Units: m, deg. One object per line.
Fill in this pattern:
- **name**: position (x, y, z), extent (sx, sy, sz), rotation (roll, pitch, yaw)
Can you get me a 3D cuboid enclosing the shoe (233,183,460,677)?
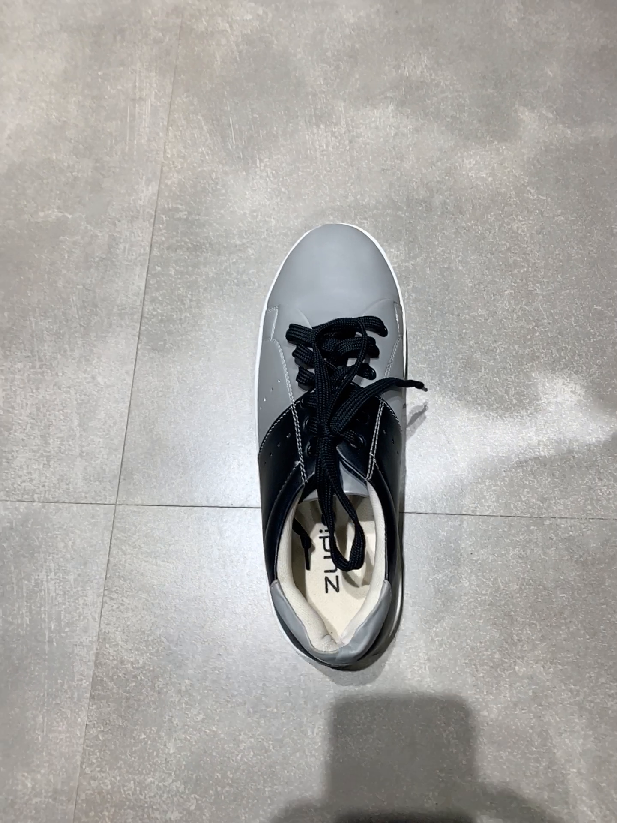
- **shoe**: position (0.023, 0.008, 0.369), extent (0.101, 0.093, 0.263), rotation (0, 71, 4)
